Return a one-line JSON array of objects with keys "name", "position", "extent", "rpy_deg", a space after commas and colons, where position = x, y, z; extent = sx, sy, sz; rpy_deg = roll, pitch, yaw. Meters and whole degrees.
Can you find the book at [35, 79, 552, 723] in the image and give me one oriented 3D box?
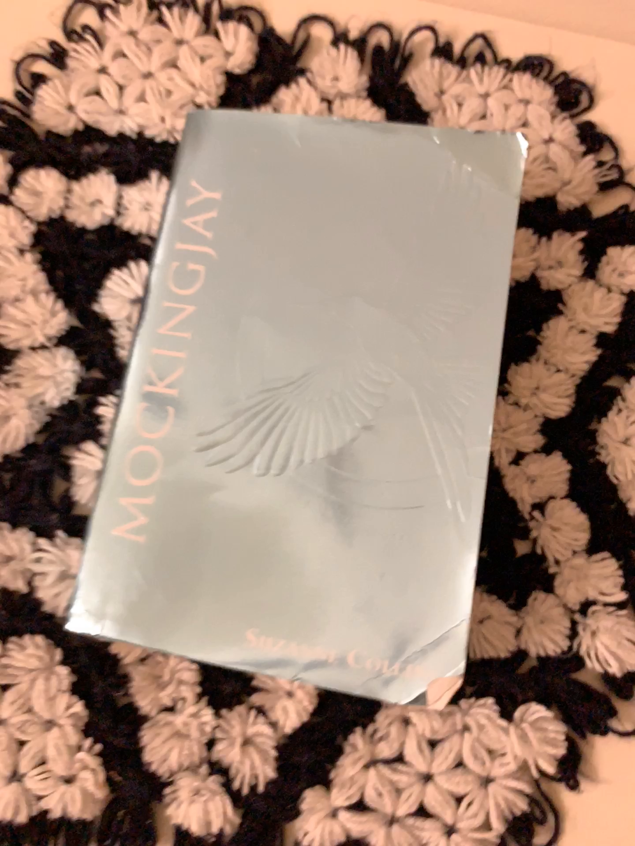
[{"name": "book", "position": [0.000, -0.013, 0.231], "extent": [0.136, 0.036, 0.193], "rpy_deg": [10, 78, -1]}]
